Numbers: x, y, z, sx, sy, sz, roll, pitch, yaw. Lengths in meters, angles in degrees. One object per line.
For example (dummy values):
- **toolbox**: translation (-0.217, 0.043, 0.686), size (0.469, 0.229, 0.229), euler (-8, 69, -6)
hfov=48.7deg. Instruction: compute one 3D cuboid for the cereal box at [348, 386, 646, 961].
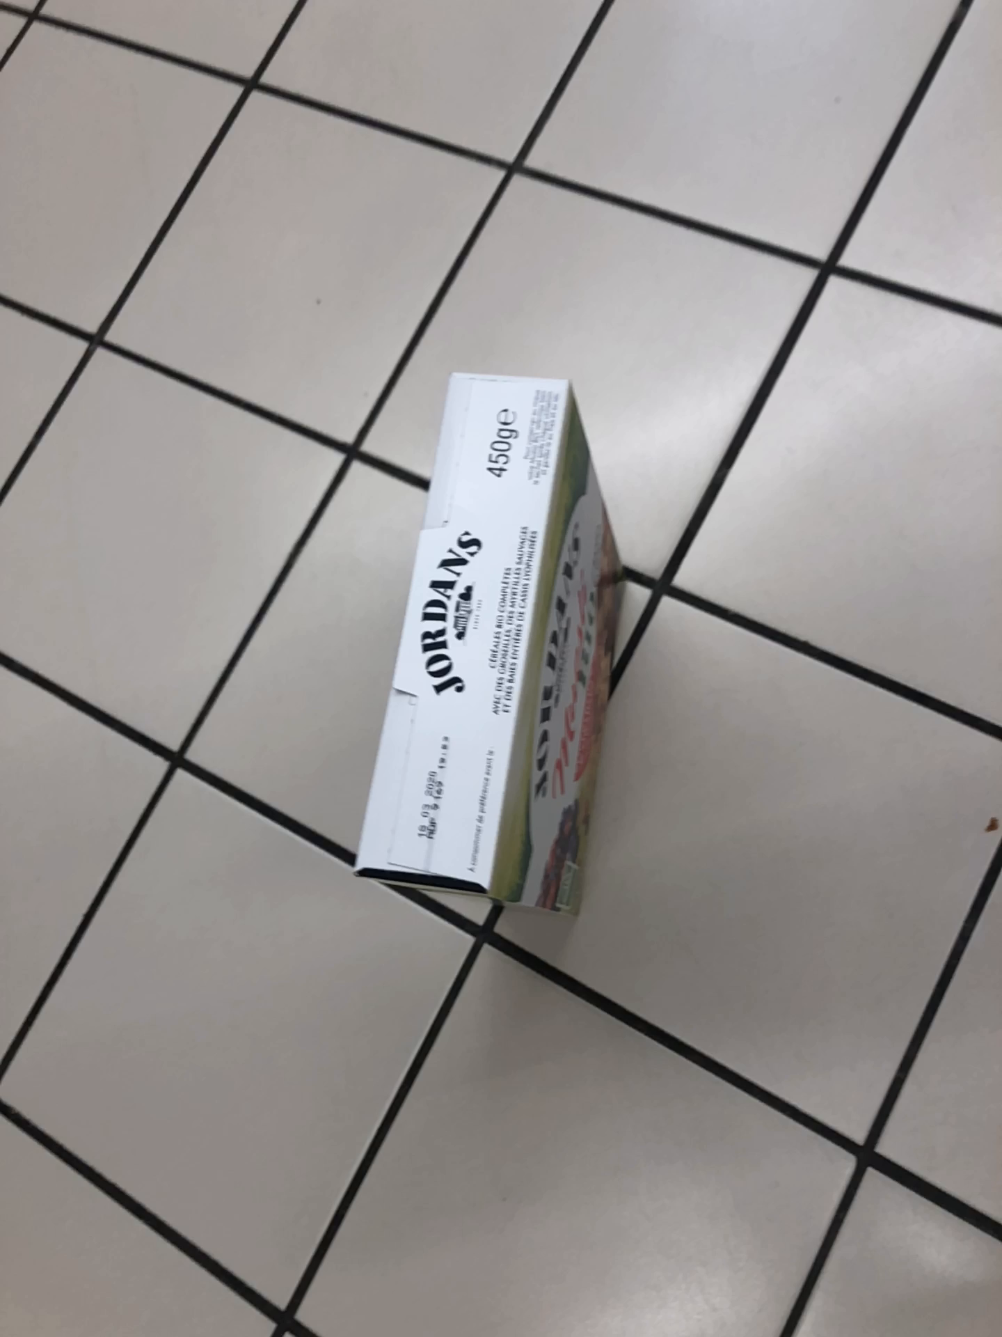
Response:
- **cereal box**: translation (0.014, 0.022, 0.470), size (0.060, 0.220, 0.190), euler (6, 77, 12)
